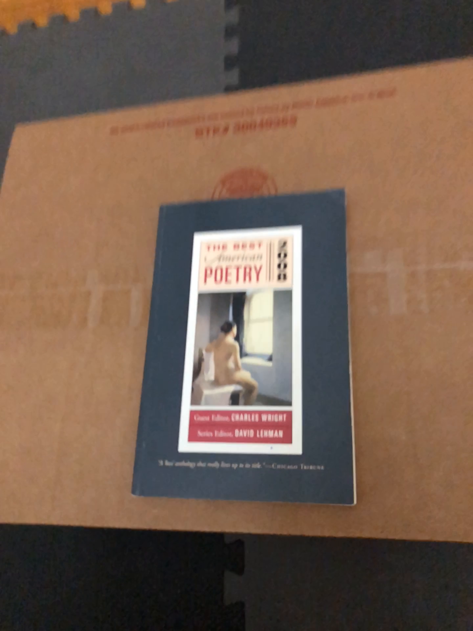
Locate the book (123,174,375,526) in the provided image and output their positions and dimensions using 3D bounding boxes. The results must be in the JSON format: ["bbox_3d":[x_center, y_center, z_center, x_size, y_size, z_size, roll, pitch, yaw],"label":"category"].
[{"bbox_3d":[0.008,0.016,0.357,0.150,0.020,0.230,-3,69,13],"label":"book"}]
